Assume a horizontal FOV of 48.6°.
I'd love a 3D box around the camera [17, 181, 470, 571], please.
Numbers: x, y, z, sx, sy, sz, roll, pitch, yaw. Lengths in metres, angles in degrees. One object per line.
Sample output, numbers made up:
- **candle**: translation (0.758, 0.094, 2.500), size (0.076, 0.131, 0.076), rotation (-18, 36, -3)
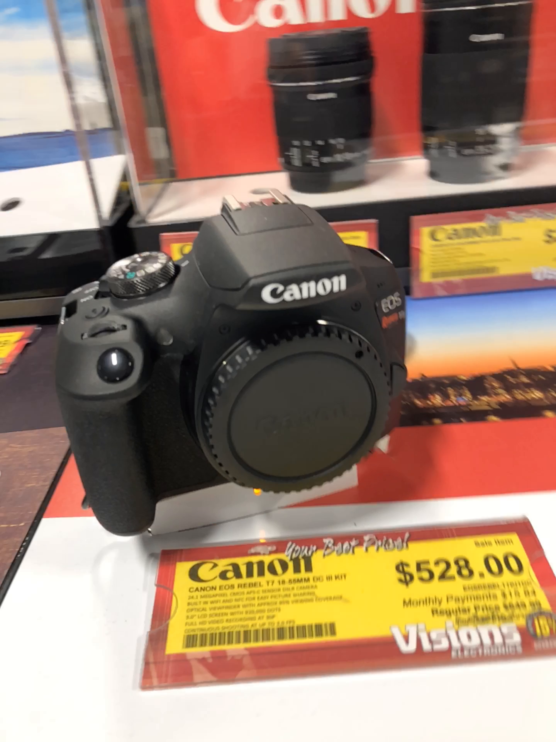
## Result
- **camera**: translation (-0.012, -0.006, 0.227), size (0.130, 0.089, 0.081), rotation (-13, 31, -11)
